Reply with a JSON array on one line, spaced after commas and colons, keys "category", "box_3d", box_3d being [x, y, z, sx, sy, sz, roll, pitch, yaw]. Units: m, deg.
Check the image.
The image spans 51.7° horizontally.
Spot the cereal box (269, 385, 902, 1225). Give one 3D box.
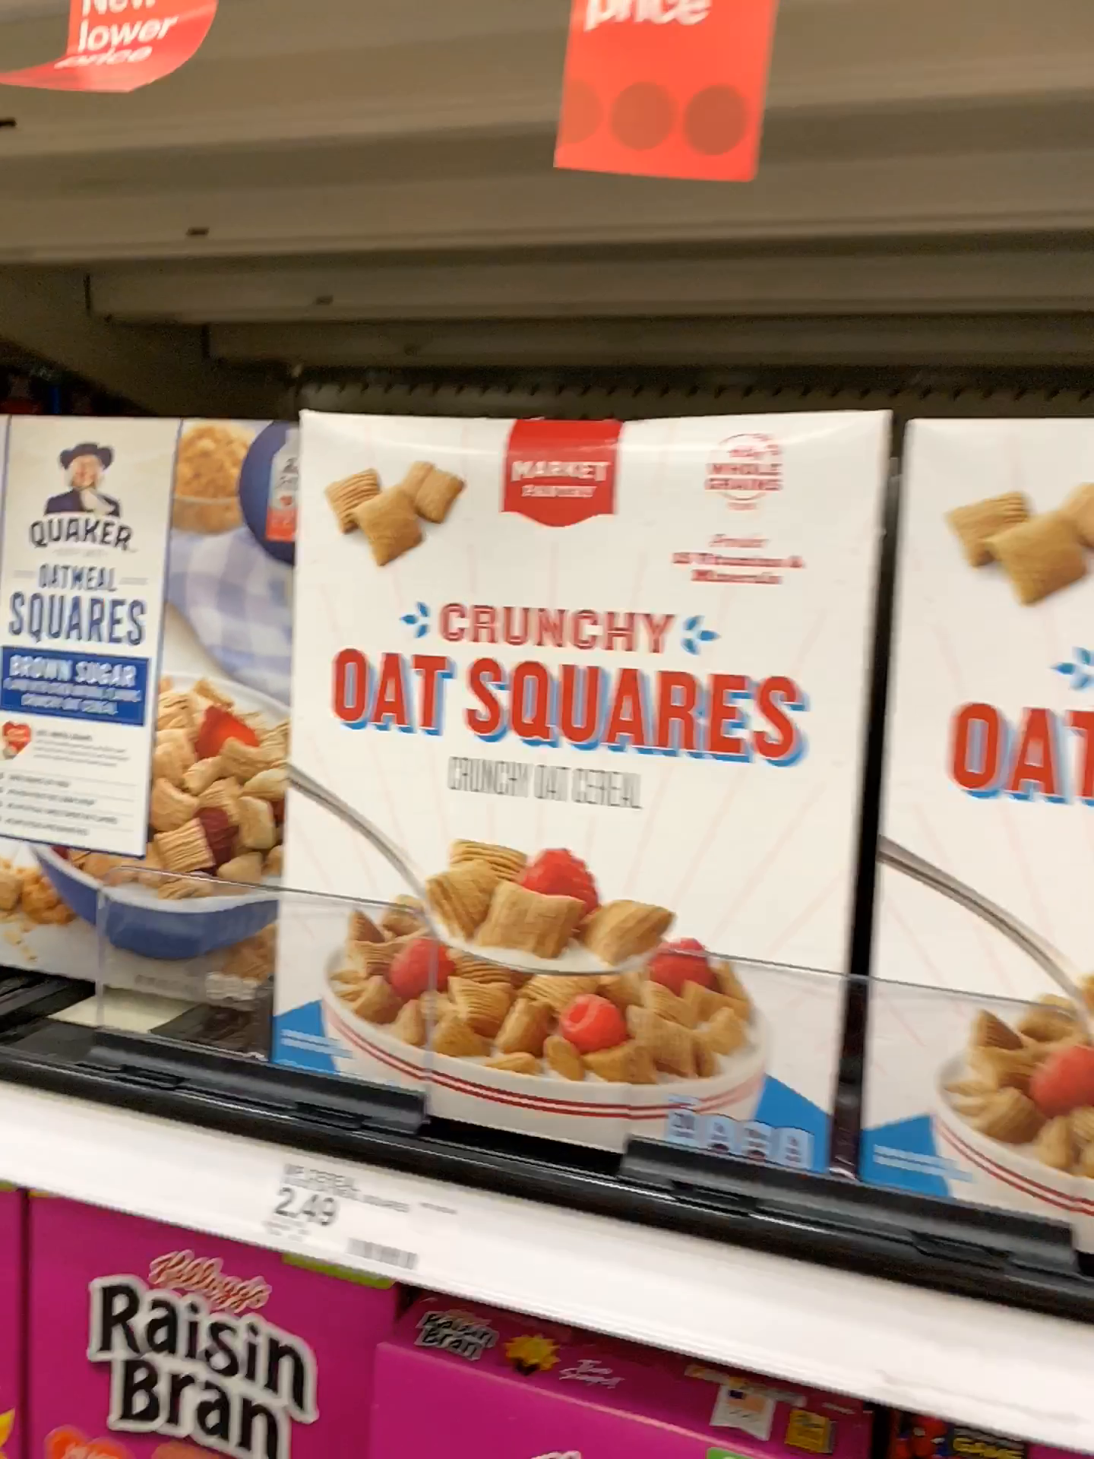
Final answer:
[{"category": "cereal box", "box_3d": [0.010, 0.016, 0.388, 0.190, 0.250, 0.060, 5, 5, 15]}]
